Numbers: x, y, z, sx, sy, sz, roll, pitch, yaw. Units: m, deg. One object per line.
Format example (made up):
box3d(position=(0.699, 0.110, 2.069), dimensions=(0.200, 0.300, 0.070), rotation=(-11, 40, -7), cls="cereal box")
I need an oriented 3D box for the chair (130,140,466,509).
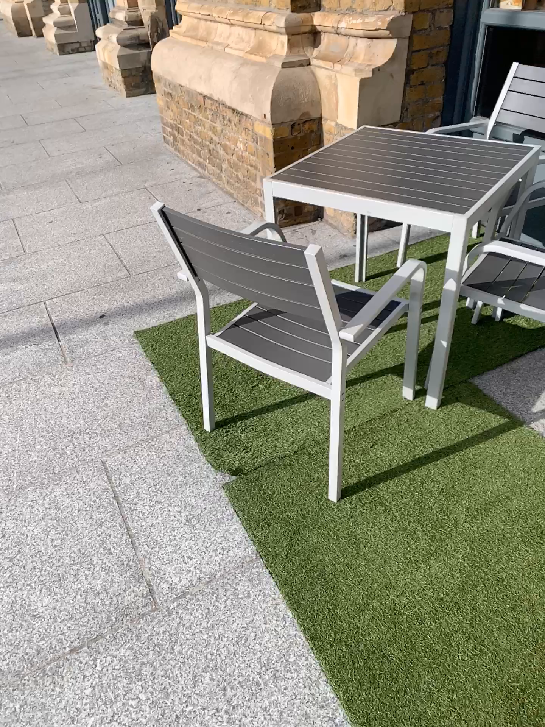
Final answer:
box3d(position=(0.108, -0.168, 1.751), dimensions=(0.683, 0.801, 0.650), rotation=(20, 43, 28), cls="chair")
